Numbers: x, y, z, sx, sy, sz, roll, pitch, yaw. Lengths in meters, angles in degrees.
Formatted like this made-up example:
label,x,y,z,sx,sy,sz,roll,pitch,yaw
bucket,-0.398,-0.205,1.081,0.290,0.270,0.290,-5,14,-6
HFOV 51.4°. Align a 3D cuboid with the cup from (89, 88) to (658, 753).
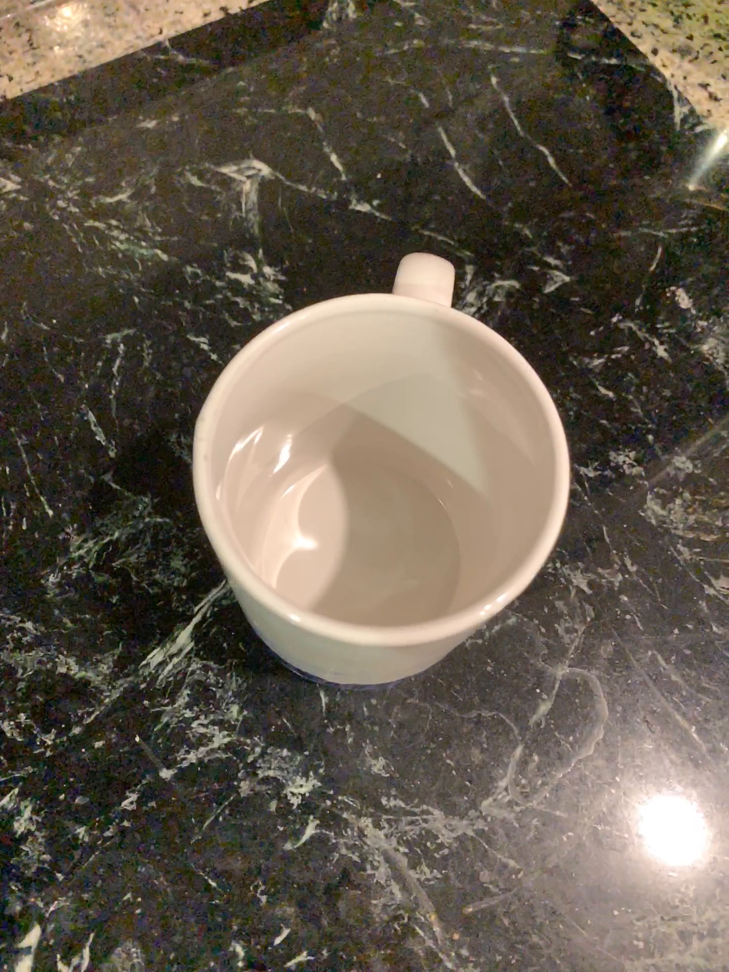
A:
label,x,y,z,sx,sy,sz,roll,pitch,yaw
cup,0.007,-0.008,0.202,0.090,0.100,0.131,14,69,2
